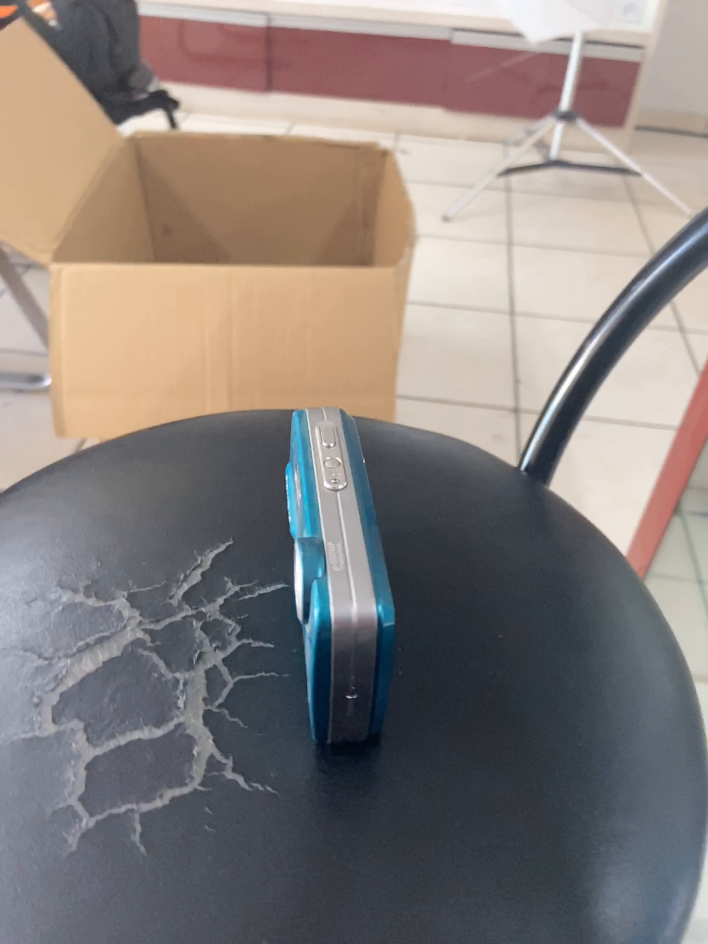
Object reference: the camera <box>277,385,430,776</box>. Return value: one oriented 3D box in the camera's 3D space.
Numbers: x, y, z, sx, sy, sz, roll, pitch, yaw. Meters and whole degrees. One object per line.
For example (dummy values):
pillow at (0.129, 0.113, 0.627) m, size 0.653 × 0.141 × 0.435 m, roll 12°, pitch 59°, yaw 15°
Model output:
camera at (-0.005, 0.030, 0.236) m, size 0.030 × 0.070 × 0.101 m, roll -4°, pitch 41°, yaw -8°
